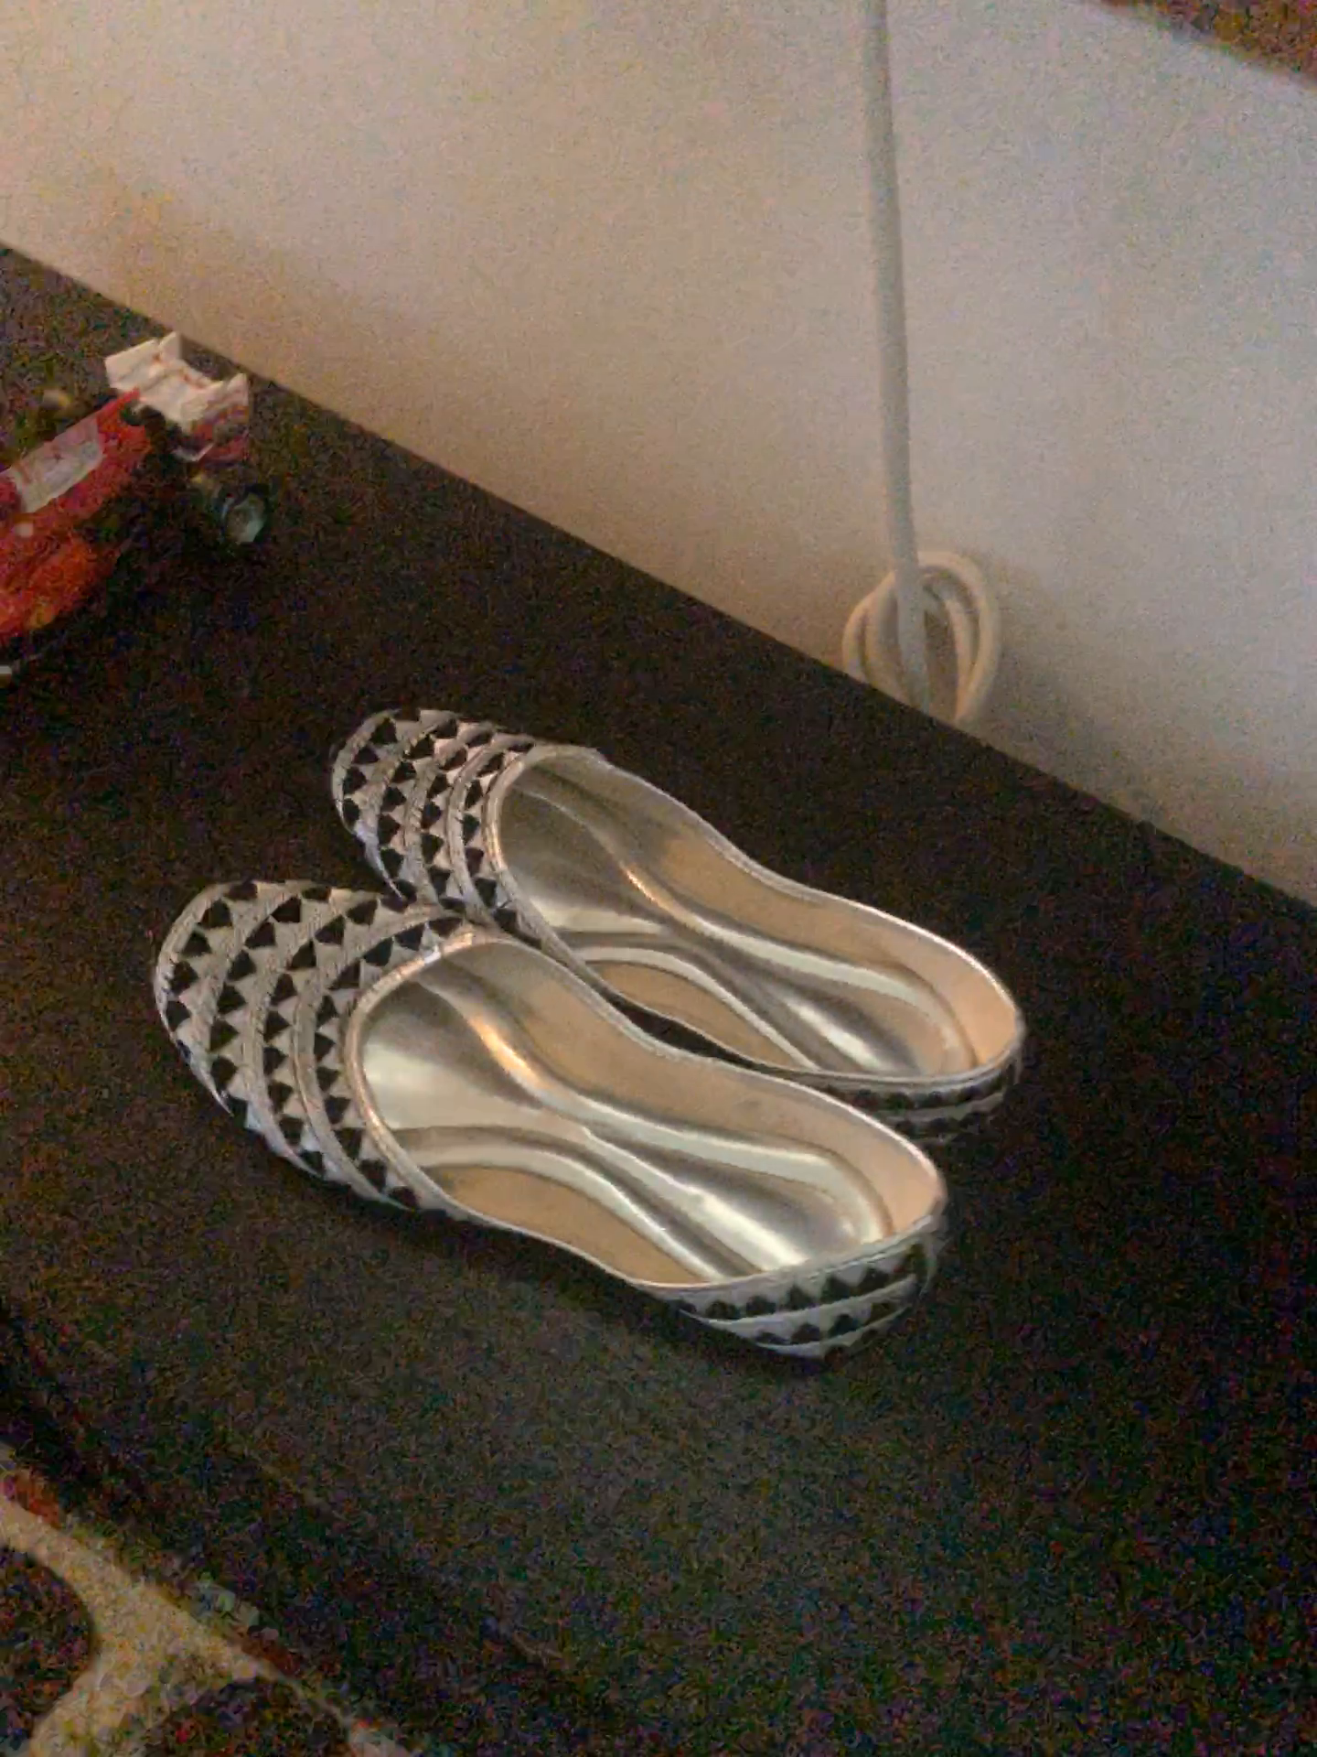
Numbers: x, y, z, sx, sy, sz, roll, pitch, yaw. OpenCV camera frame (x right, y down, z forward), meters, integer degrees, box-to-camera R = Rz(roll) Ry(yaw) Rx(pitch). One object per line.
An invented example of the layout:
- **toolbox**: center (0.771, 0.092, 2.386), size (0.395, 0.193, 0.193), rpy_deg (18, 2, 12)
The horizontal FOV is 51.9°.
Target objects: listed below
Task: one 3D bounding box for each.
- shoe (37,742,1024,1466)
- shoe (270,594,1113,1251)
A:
- **shoe**: center (-0.036, 0.066, 0.413), size (0.260, 0.079, 0.101), rpy_deg (22, 52, 6)
- **shoe**: center (0.008, 0.011, 0.485), size (0.270, 0.079, 0.101), rpy_deg (26, 53, 9)
